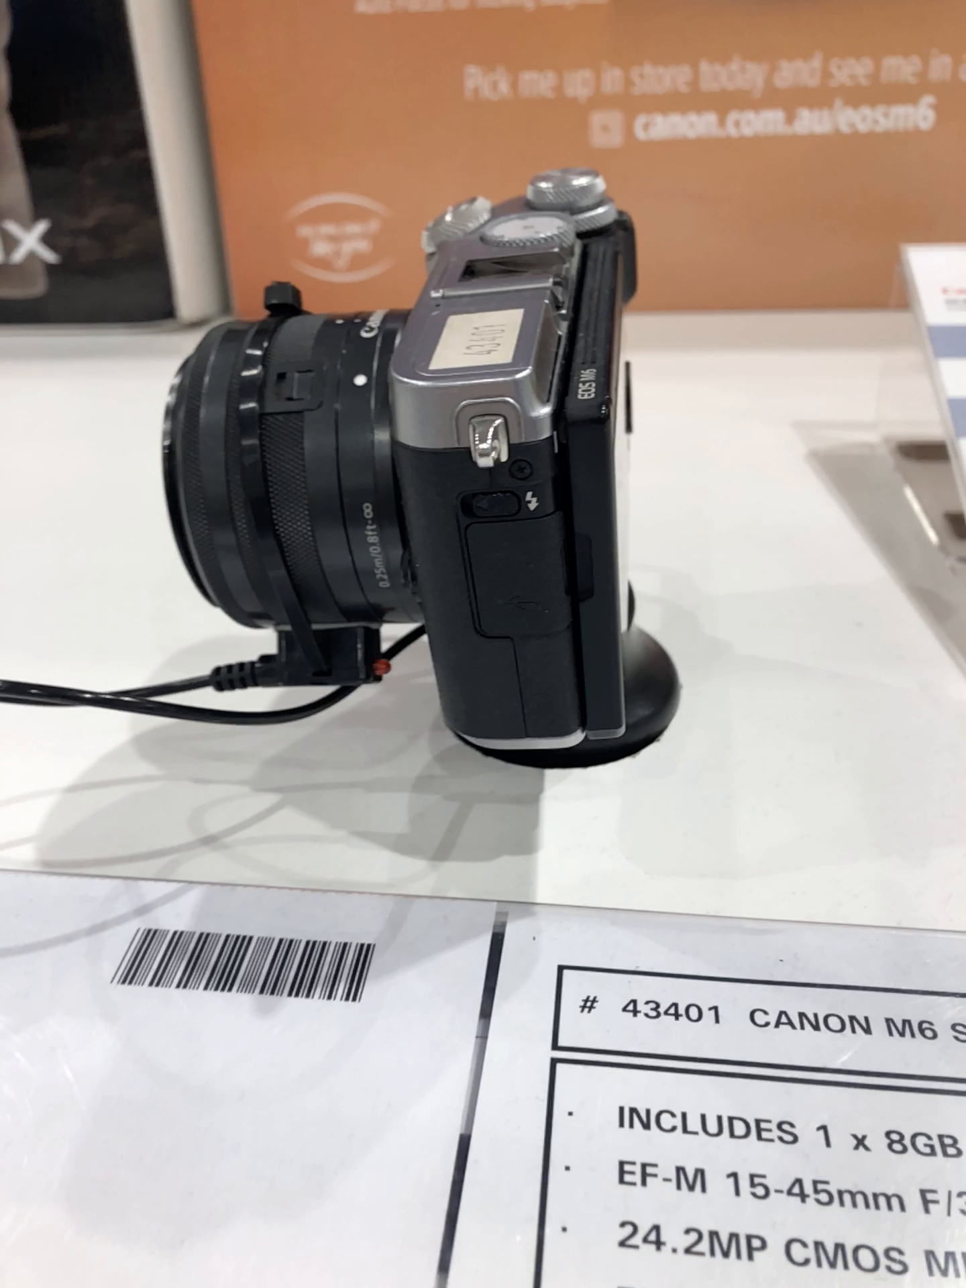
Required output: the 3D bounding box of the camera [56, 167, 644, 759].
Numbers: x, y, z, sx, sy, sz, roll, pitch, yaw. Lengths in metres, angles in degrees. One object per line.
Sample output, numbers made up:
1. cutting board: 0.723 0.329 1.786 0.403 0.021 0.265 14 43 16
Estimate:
1. camera: -0.011 -0.040 0.215 0.083 0.075 0.103 -1 34 10
